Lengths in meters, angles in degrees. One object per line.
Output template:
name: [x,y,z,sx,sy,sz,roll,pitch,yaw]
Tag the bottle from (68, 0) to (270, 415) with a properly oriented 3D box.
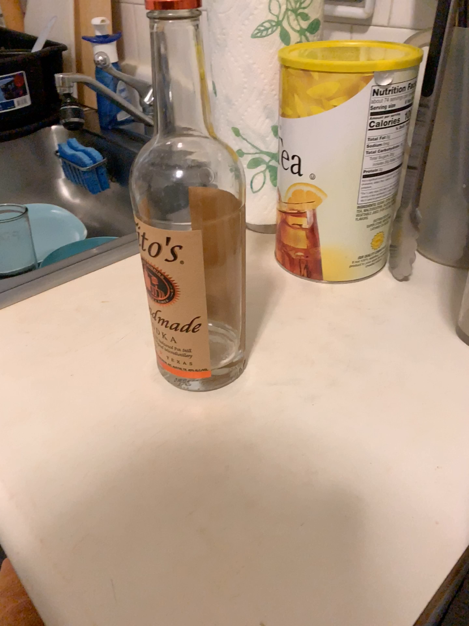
bottle: [-0.036,-0.068,0.345,0.080,0.288,0.080,0,36,0]
